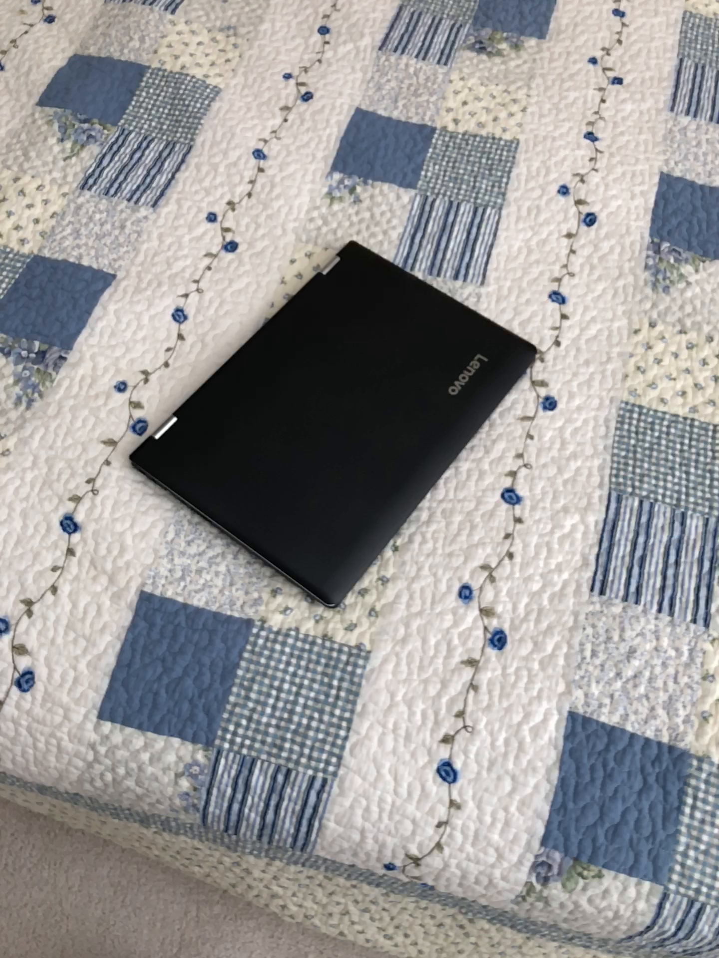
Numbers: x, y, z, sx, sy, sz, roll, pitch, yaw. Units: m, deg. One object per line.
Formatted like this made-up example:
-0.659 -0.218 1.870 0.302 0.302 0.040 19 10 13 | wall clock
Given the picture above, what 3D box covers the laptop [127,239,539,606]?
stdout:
-0.015 -0.073 0.722 0.224 0.008 0.321 33 65 16 | laptop
